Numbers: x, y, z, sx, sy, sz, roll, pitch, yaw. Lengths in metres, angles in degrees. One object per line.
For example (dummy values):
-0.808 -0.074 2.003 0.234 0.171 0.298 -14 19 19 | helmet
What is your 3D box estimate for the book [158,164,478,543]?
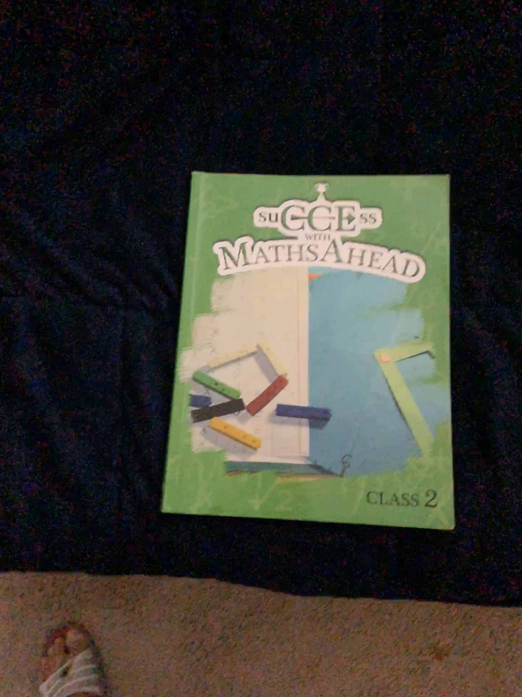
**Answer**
0.048 -0.005 0.416 0.230 0.020 0.280 3 81 4 | book
